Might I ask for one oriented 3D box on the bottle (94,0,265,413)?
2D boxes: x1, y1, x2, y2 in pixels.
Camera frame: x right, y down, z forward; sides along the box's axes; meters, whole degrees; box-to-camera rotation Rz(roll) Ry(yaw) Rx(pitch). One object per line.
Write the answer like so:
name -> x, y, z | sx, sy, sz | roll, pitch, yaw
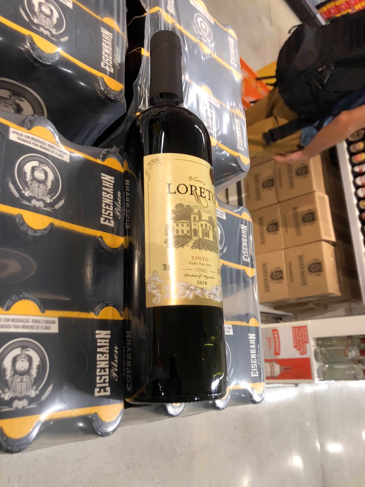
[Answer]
bottle -> -0.011, -0.055, 0.311 | 0.080, 0.079, 0.330 | 9, 70, -34
